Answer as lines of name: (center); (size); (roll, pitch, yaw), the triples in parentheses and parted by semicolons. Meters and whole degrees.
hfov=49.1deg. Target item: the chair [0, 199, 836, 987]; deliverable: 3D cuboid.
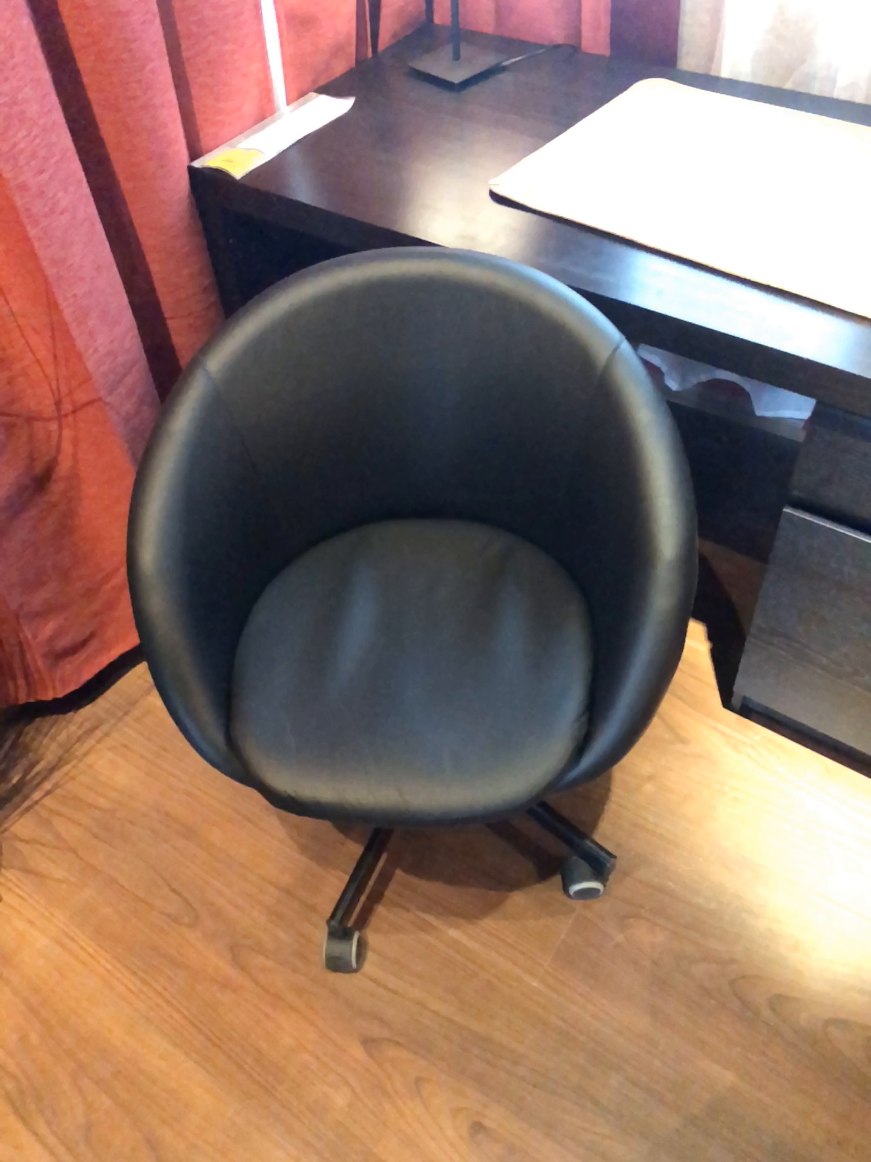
chair: (-0.022, 0.048, 1.110); (0.630, 0.696, 0.573); (-3, 48, 2)
